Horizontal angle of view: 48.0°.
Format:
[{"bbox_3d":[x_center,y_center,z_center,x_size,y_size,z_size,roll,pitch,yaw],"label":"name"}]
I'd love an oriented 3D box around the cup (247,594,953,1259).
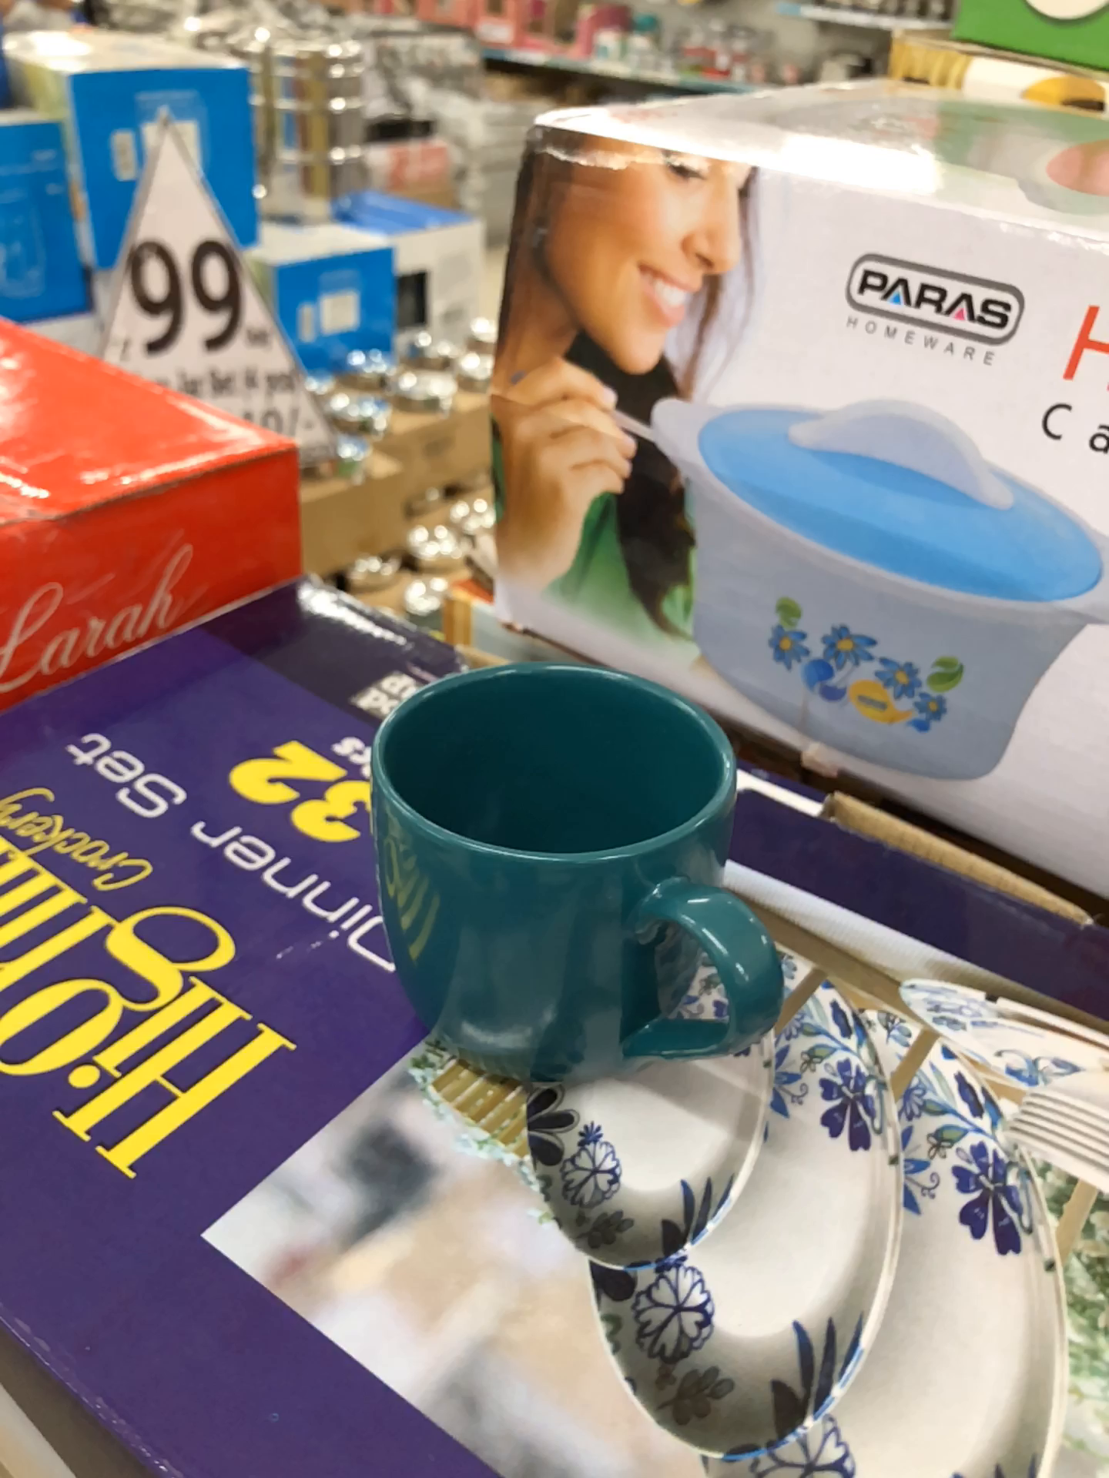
[{"bbox_3d":[0.005,0.023,0.204,0.090,0.050,0.060,25,38,28],"label":"cup"}]
